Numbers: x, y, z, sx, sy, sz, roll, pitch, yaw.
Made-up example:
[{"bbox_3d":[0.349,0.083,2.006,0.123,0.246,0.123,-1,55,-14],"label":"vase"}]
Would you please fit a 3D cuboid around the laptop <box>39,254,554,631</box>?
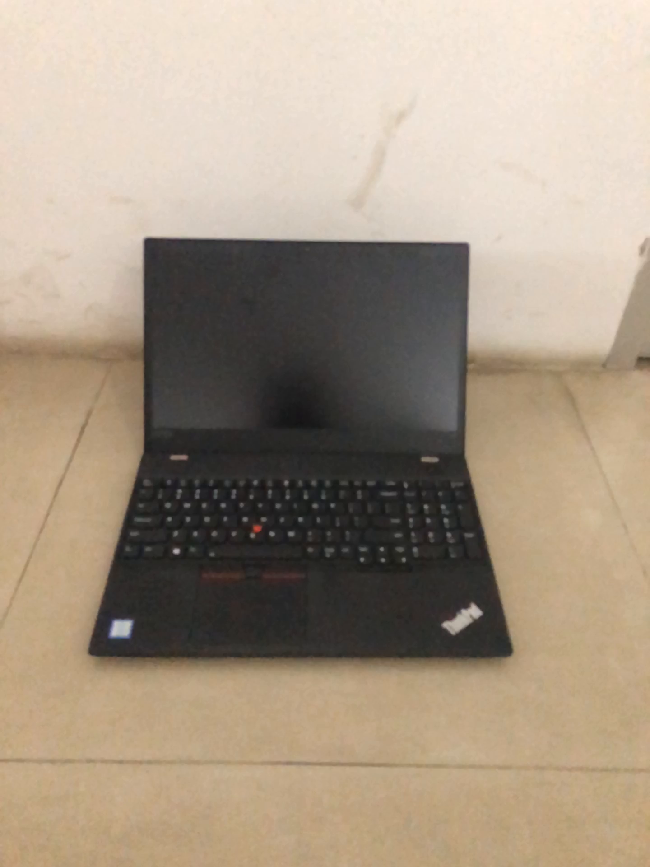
[{"bbox_3d":[-0.028,-0.012,0.682,0.344,0.192,0.365,1,35,-4],"label":"laptop"}]
